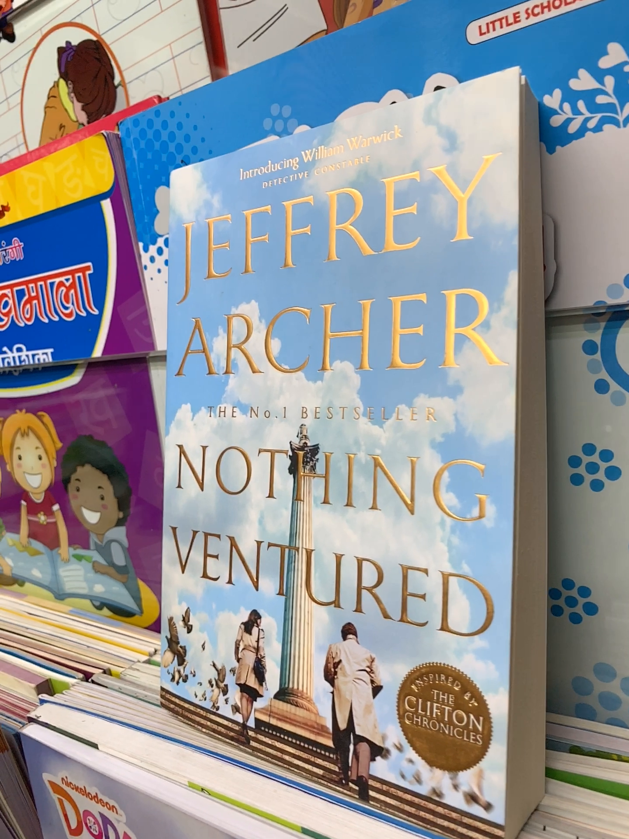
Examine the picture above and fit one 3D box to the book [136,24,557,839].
[{"bbox_3d":[0.002,0.005,0.198,0.130,0.190,0.030,-1,-3,38],"label":"book"}]
